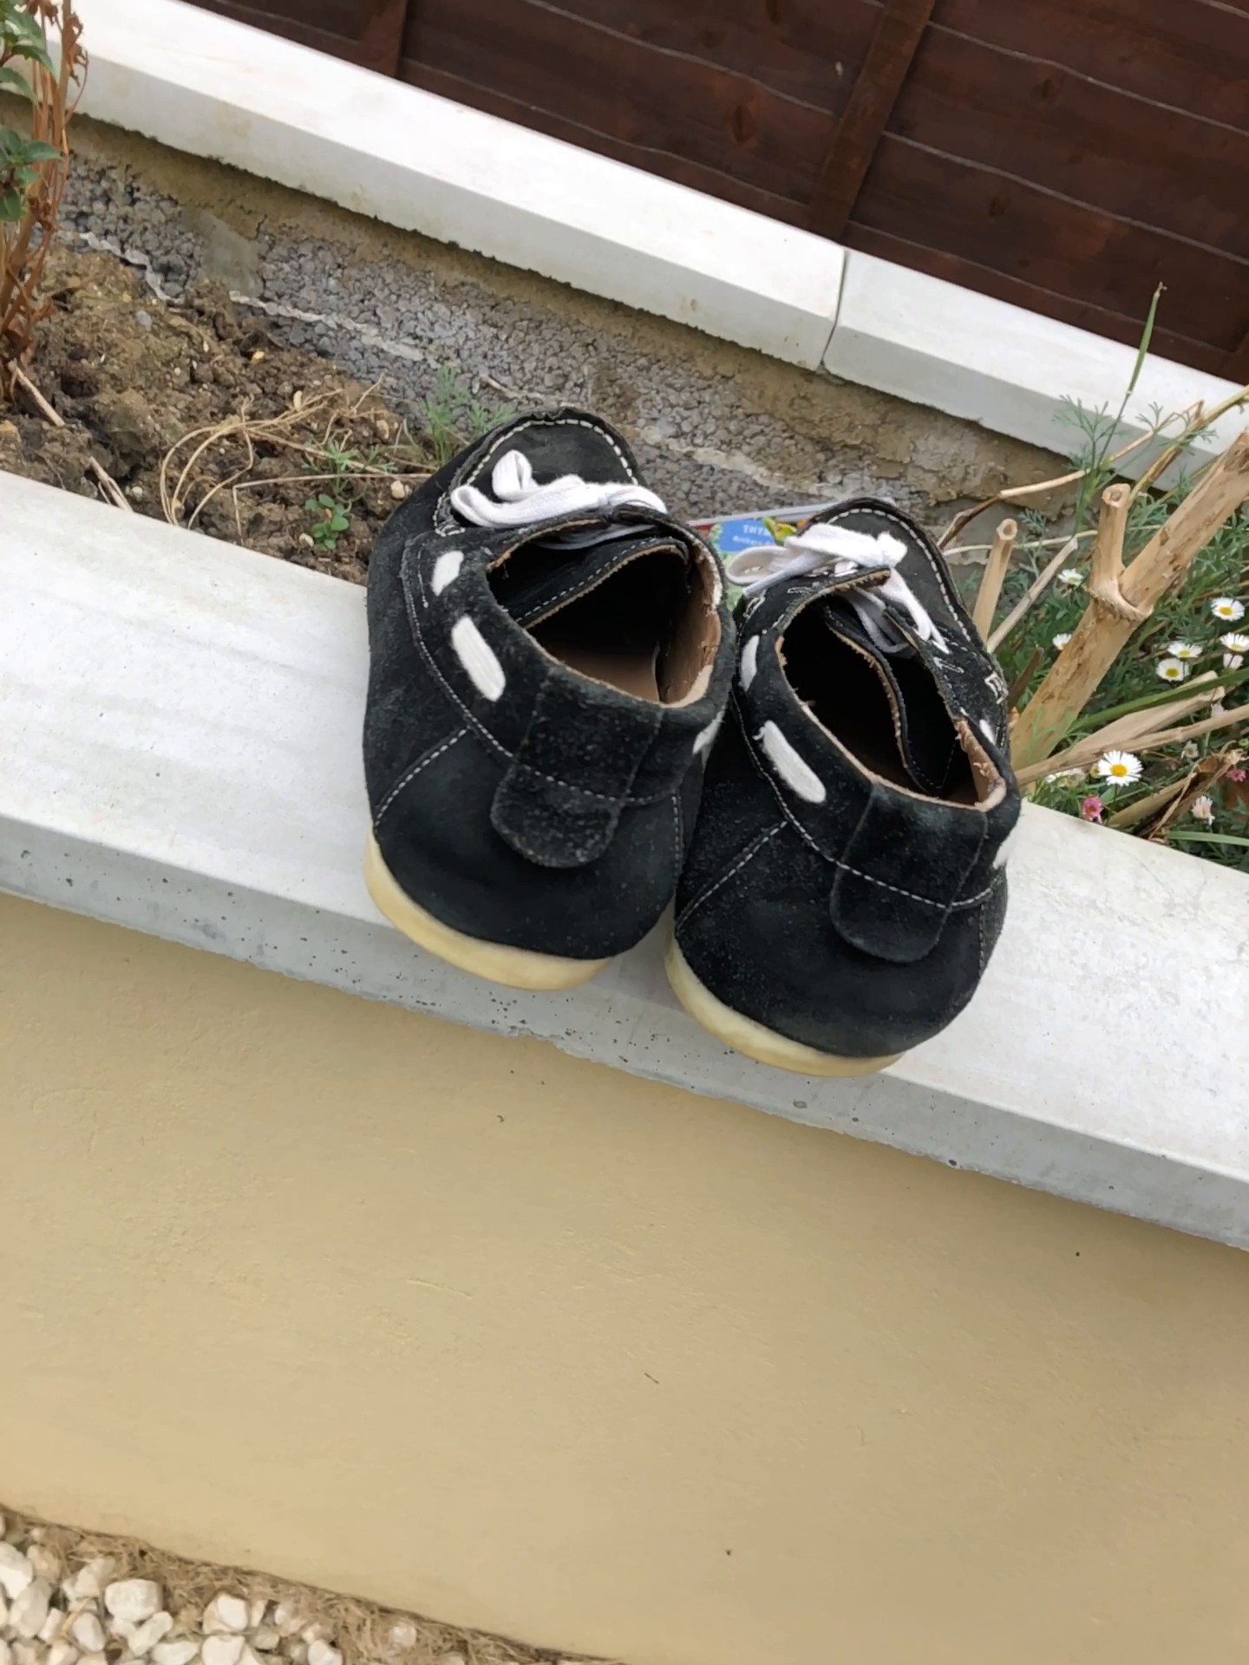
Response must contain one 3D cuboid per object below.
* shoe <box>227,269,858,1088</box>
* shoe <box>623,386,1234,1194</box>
[{"bbox_3d":[-0.024,-0.076,0.431,0.120,0.089,0.312,13,34,-10],"label":"shoe"},{"bbox_3d":[0.089,-0.043,0.443,0.110,0.089,0.302,21,33,-2],"label":"shoe"}]
